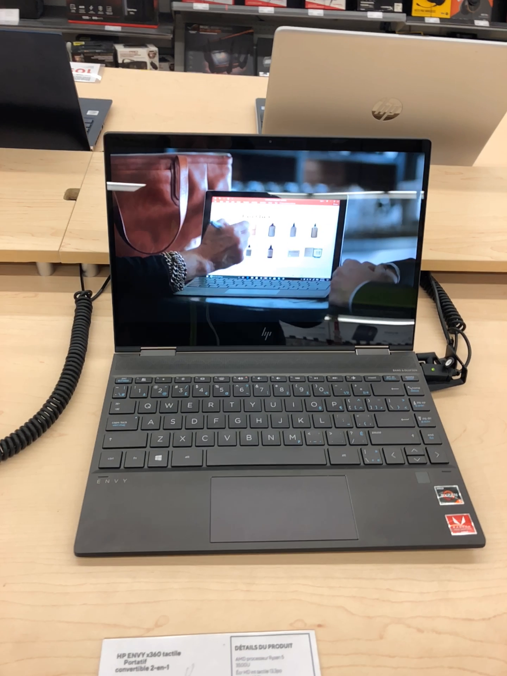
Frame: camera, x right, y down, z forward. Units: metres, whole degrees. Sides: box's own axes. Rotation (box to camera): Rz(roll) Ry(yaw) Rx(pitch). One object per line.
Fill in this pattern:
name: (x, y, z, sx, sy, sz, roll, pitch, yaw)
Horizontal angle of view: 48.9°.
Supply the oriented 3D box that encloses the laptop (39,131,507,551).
laptop: (0.022, -0.014, 0.455, 0.294, 0.182, 0.289, 0, 42, -6)
